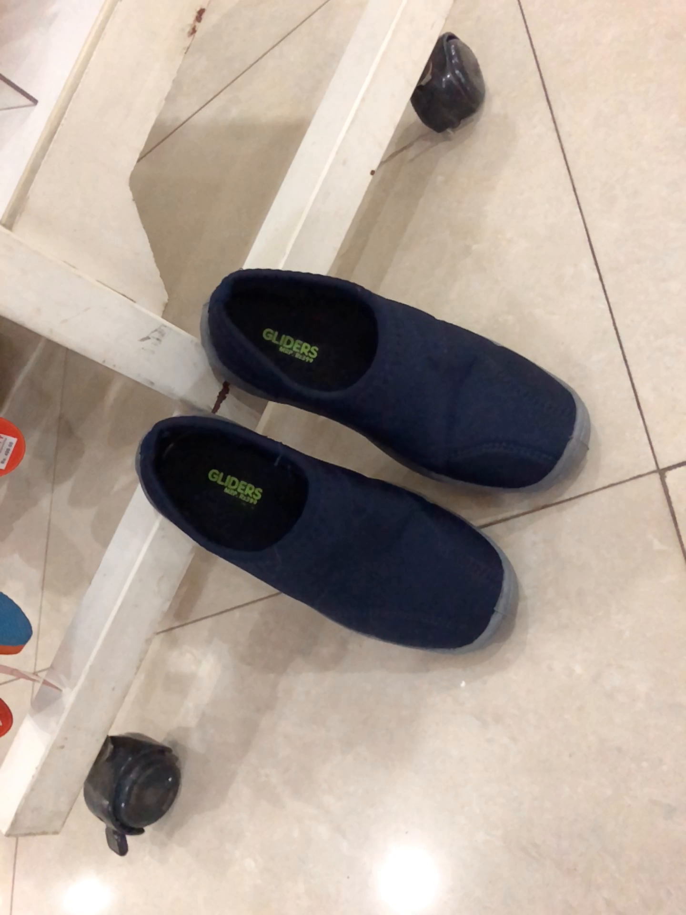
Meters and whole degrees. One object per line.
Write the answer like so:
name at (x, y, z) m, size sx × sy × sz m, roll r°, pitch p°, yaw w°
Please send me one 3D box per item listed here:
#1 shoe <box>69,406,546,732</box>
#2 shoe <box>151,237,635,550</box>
shoe at (-0.036, 0.124, 0.866) m, size 0.461 × 0.200 × 0.160 m, roll 22°, pitch 80°, yaw 9°
shoe at (0.056, -0.068, 0.925) m, size 0.490 × 0.207 × 0.186 m, roll 20°, pitch 84°, yaw 10°
